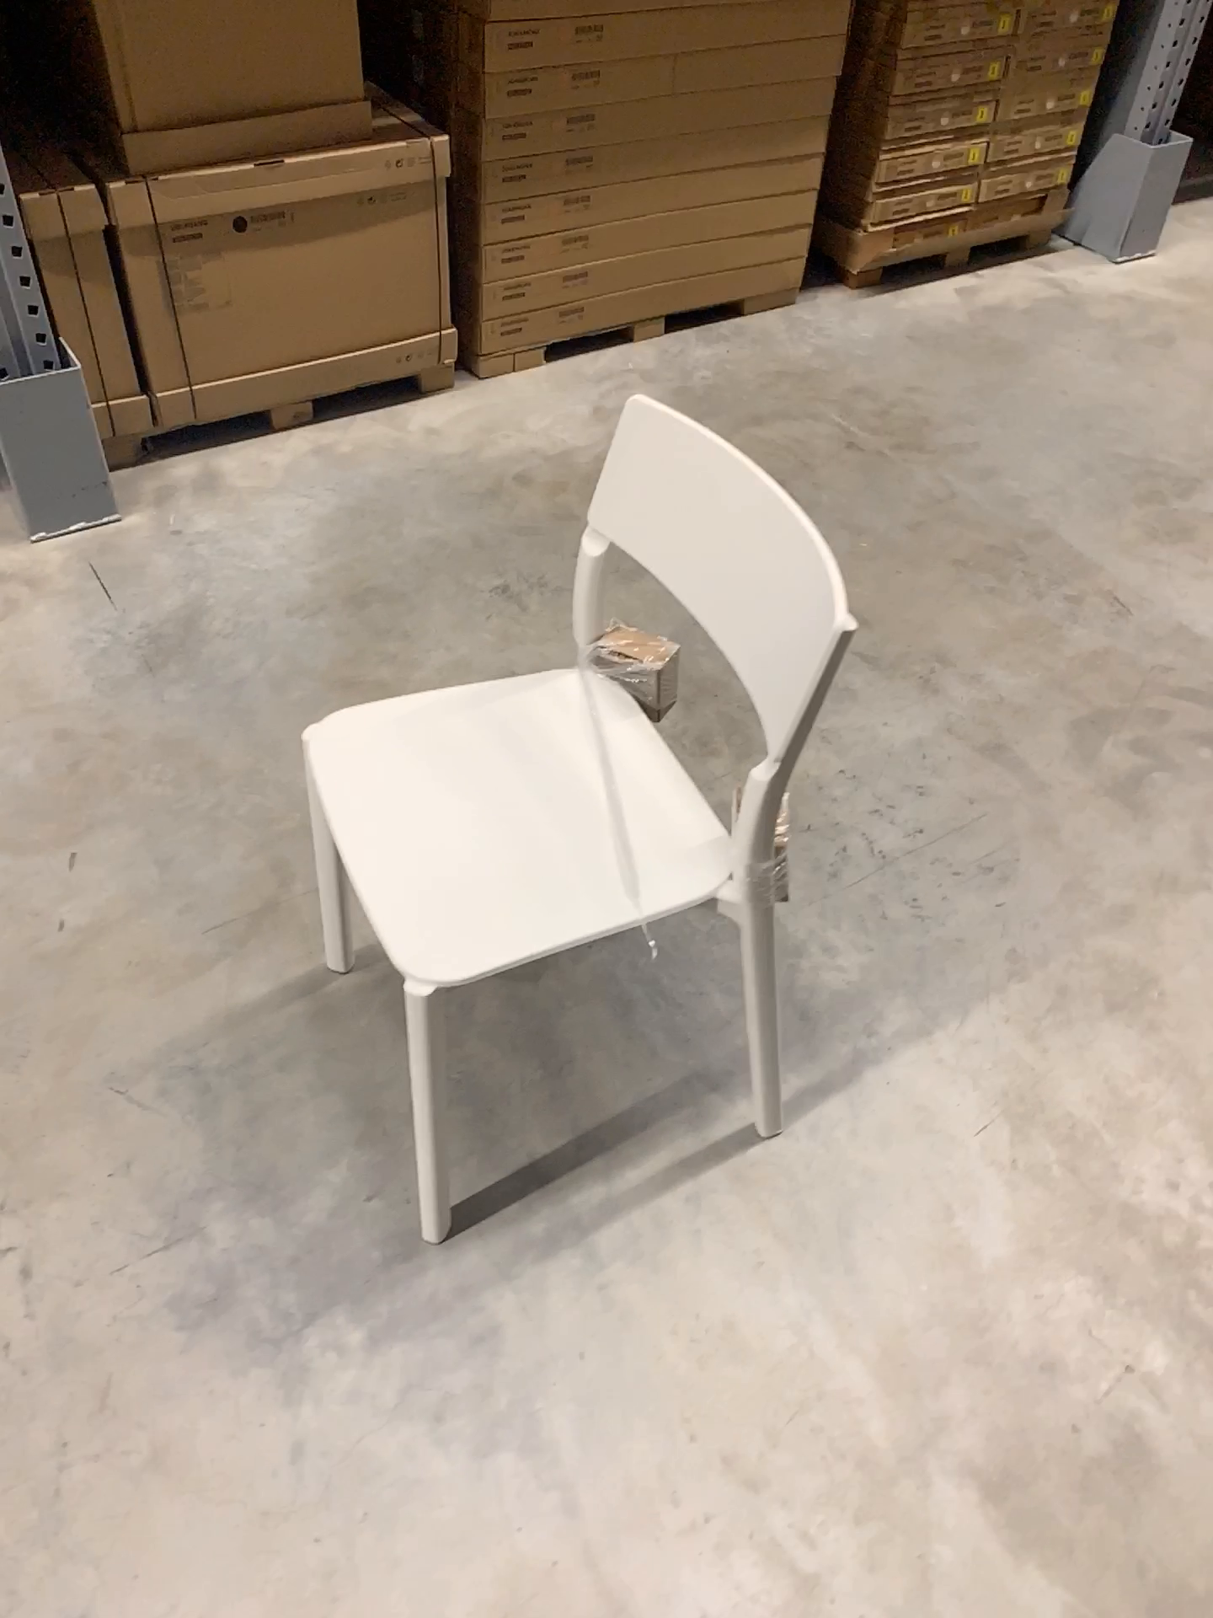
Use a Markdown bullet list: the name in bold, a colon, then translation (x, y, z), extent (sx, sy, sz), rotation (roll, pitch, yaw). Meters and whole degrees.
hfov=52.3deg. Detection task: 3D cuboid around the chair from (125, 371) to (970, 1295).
- **chair**: translation (-0.089, 0.011, 1.238), extent (0.530, 0.618, 0.522), rotation (-17, 49, -20)
